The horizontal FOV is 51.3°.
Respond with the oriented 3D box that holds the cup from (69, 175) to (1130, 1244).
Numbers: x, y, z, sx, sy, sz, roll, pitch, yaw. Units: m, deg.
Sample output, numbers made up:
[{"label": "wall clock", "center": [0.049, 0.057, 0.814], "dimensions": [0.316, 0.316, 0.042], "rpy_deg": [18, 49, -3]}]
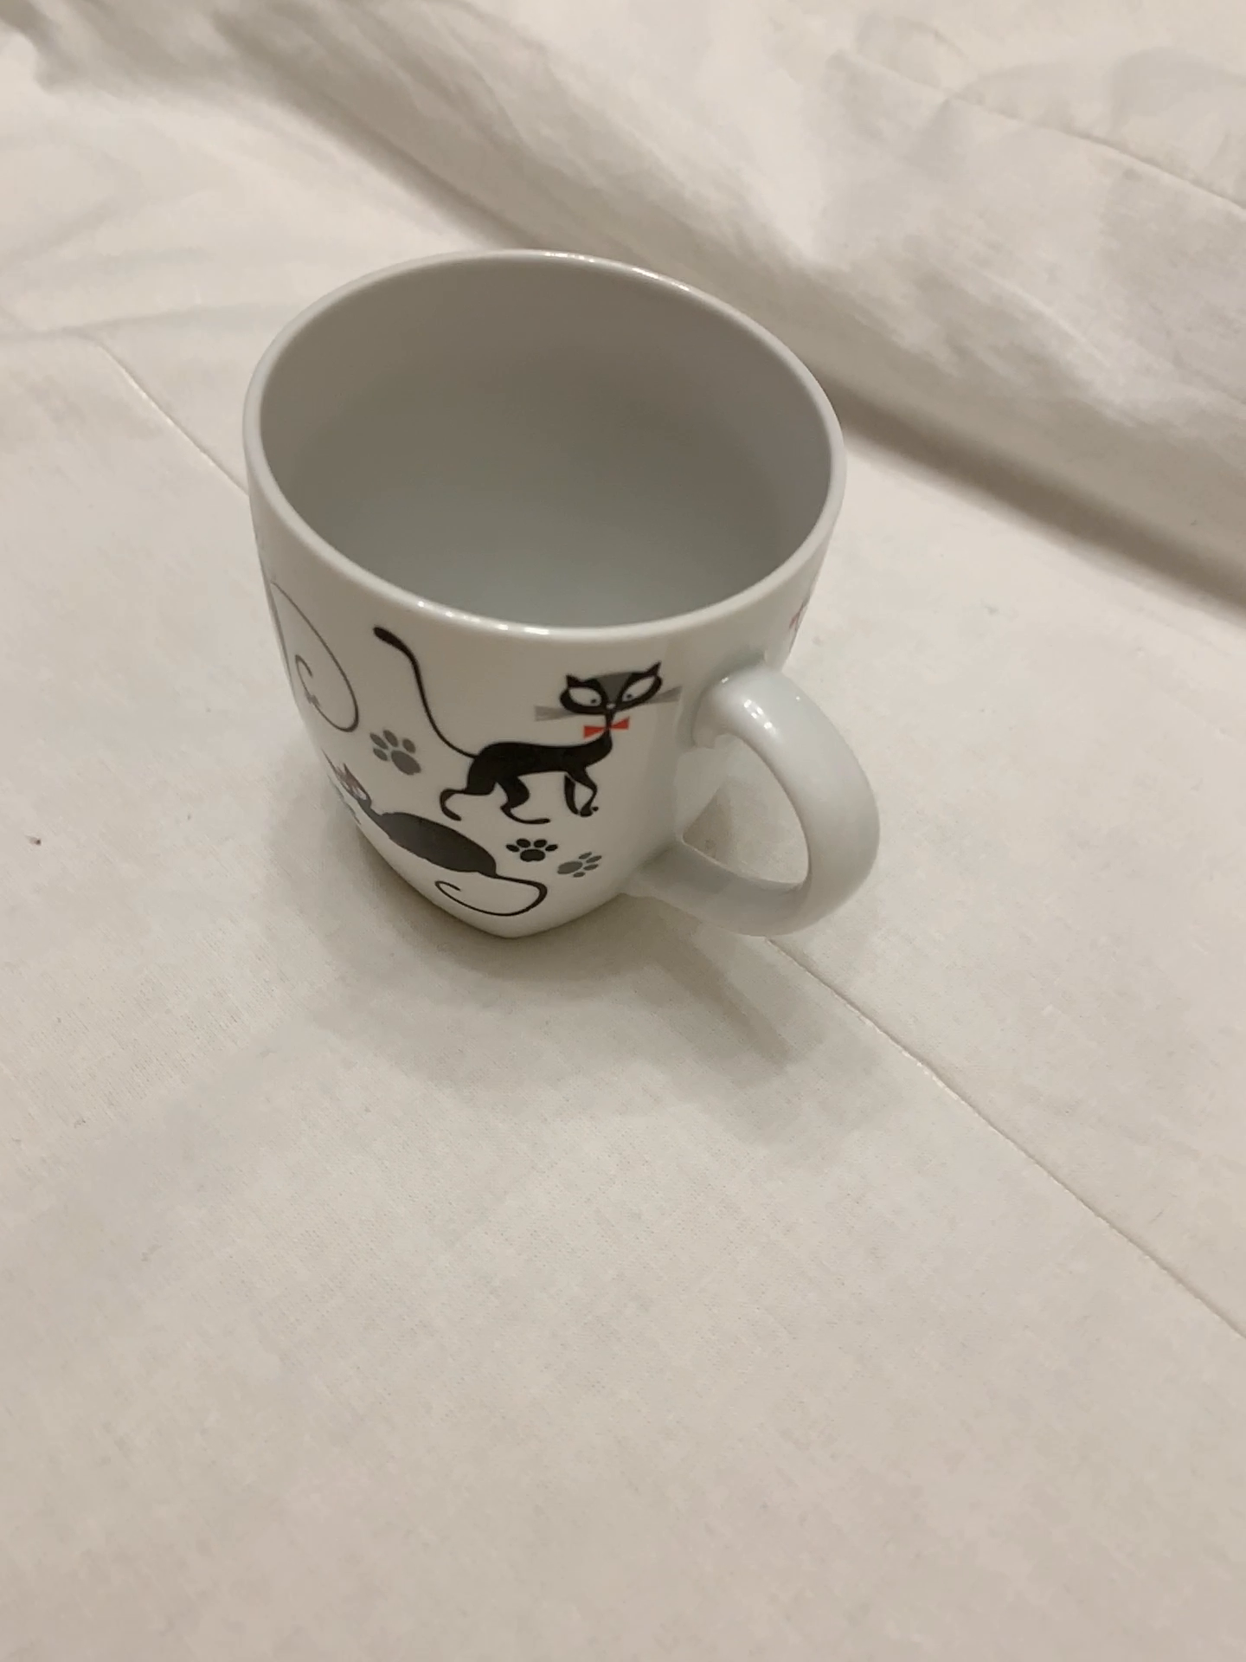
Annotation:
[{"label": "cup", "center": [-0.011, -0.023, 0.193], "dimensions": [0.081, 0.077, 0.119], "rpy_deg": [-27, 60, -23]}]
